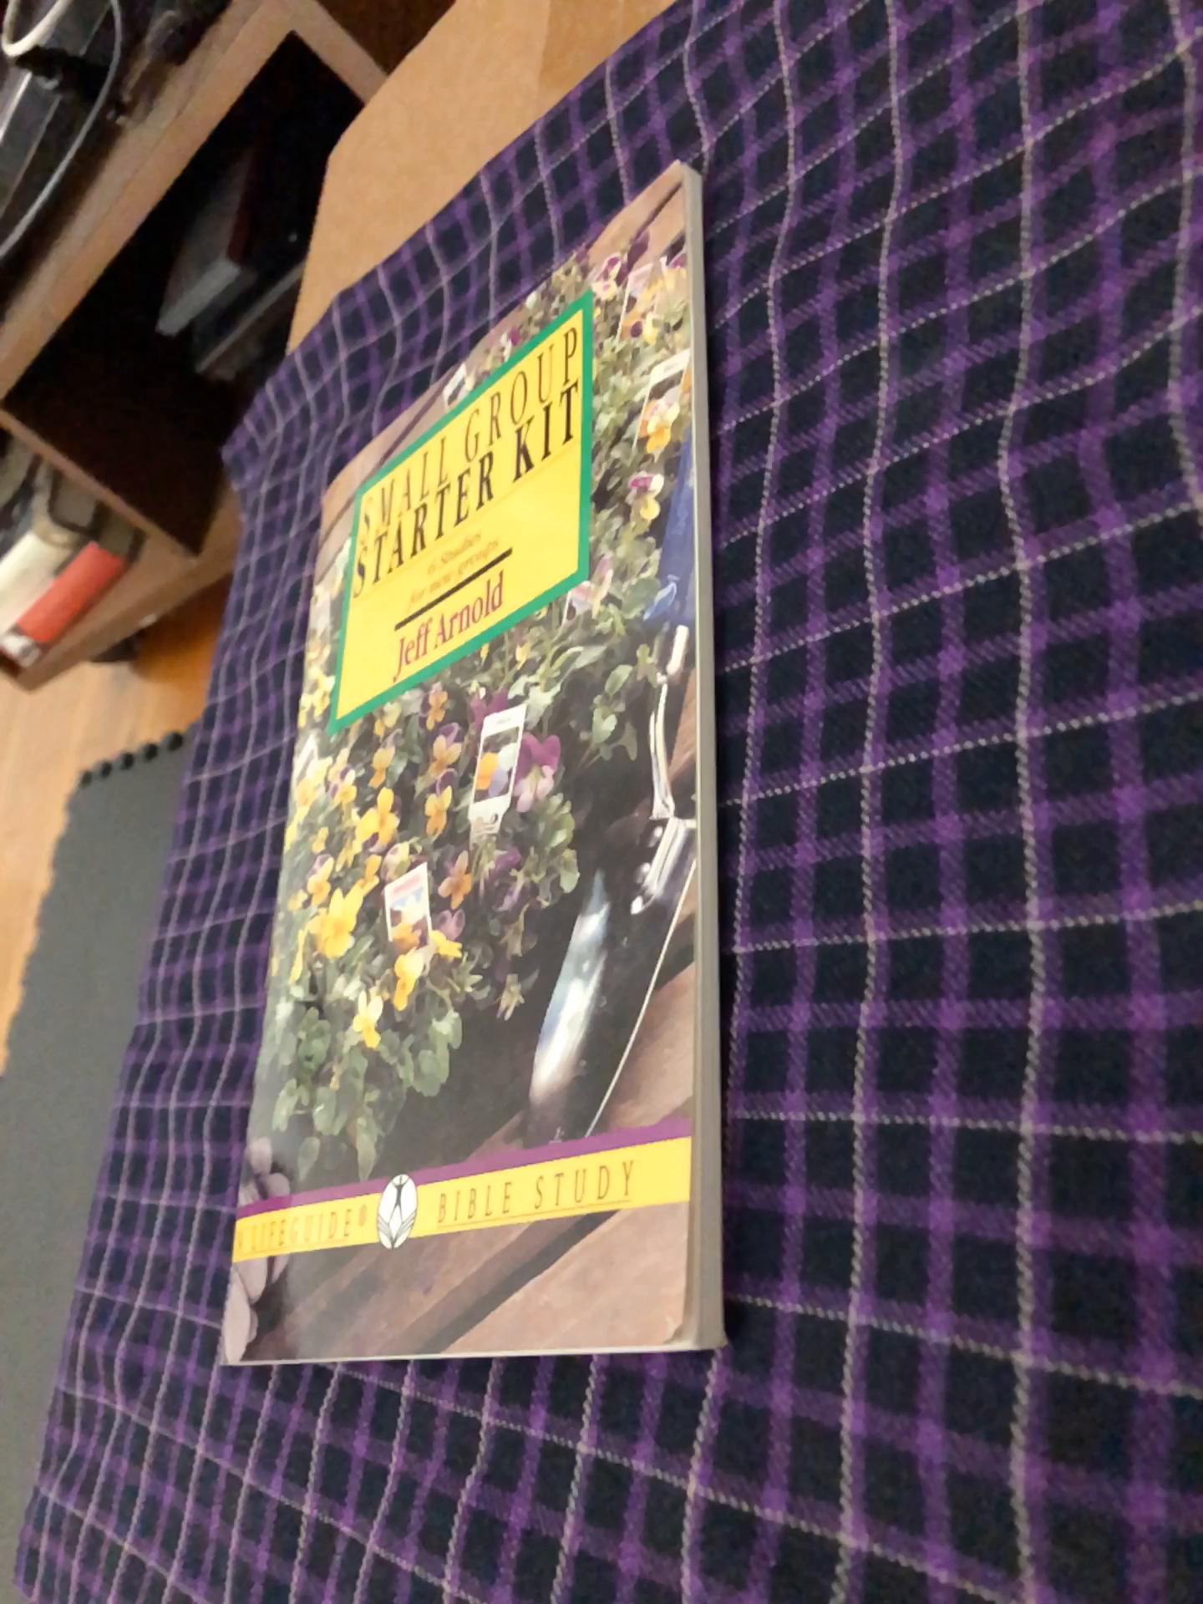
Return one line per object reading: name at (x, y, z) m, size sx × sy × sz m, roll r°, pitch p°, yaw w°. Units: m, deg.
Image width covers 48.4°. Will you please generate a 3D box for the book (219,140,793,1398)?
book at (-0.025, -0.002, 0.268) m, size 0.150 × 0.010 × 0.220 m, roll -26°, pitch 54°, yaw 45°
